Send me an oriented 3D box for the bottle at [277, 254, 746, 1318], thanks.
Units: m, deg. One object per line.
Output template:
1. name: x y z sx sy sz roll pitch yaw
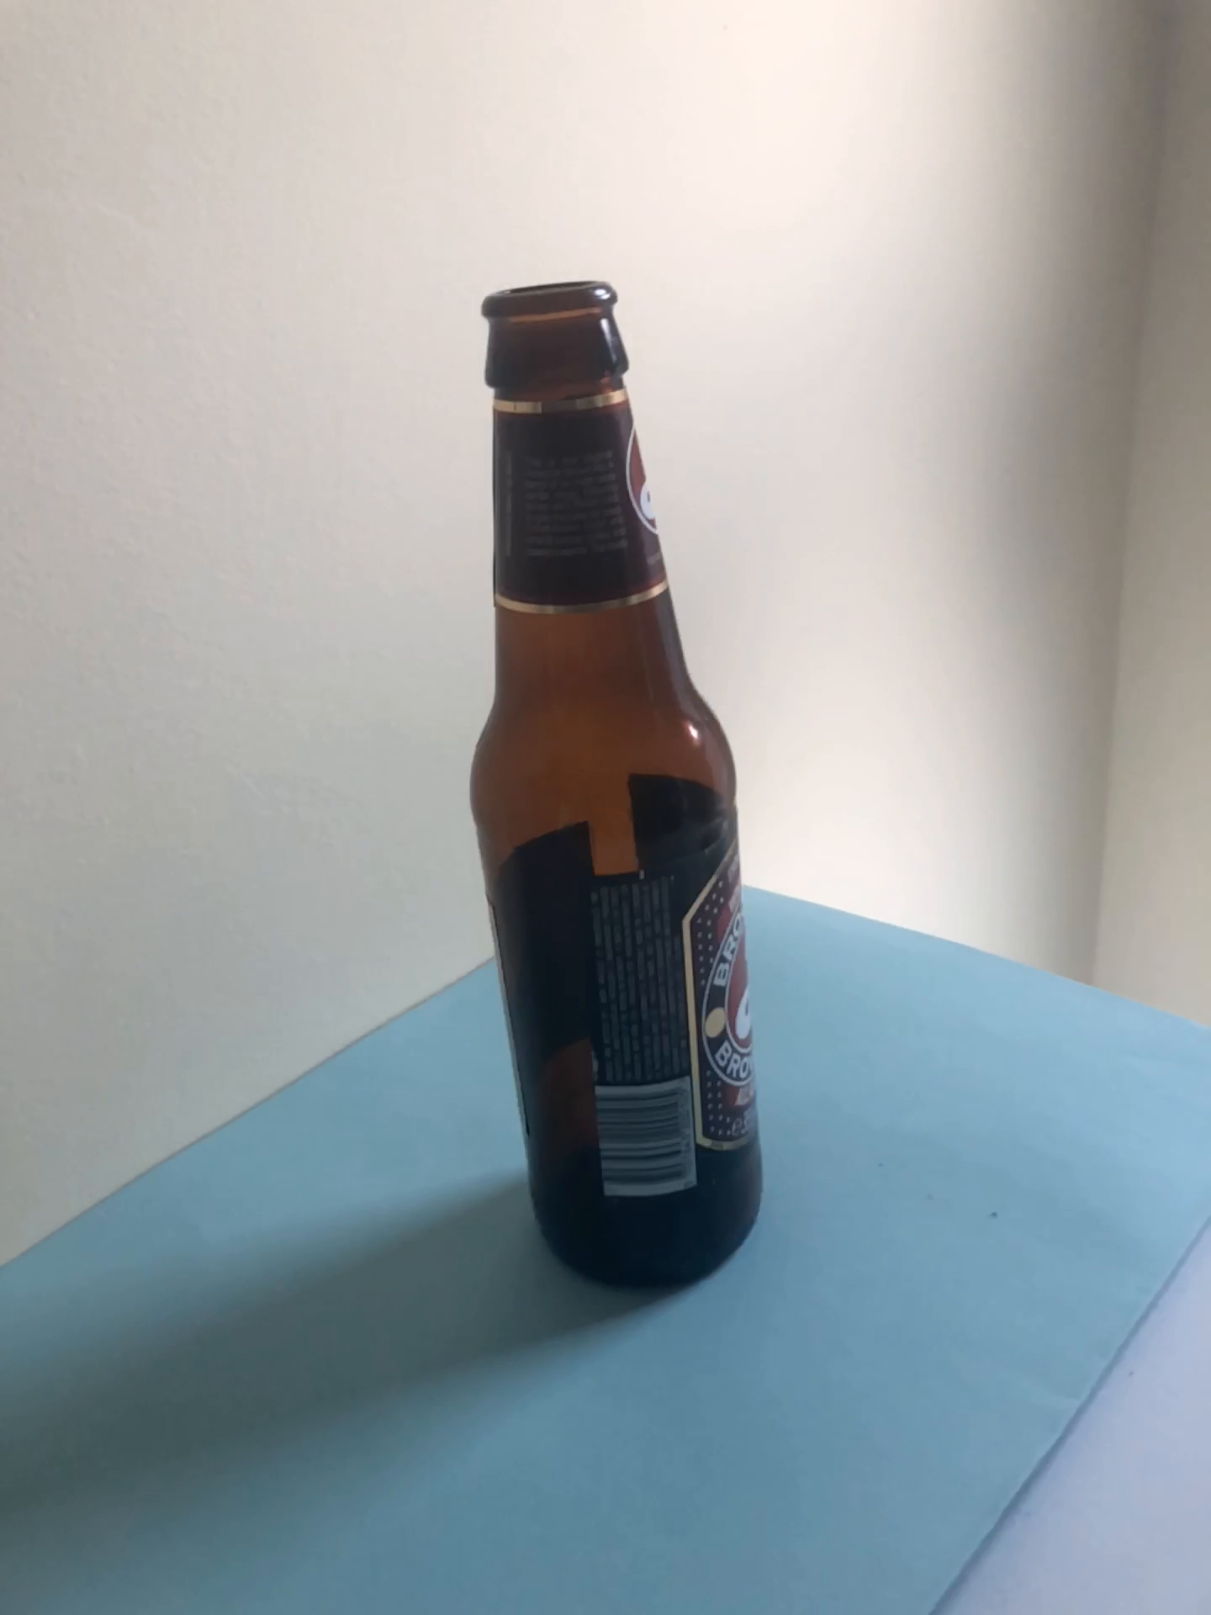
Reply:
1. bottle: -0.008 0.003 0.303 0.070 0.229 0.070 -4 25 2
